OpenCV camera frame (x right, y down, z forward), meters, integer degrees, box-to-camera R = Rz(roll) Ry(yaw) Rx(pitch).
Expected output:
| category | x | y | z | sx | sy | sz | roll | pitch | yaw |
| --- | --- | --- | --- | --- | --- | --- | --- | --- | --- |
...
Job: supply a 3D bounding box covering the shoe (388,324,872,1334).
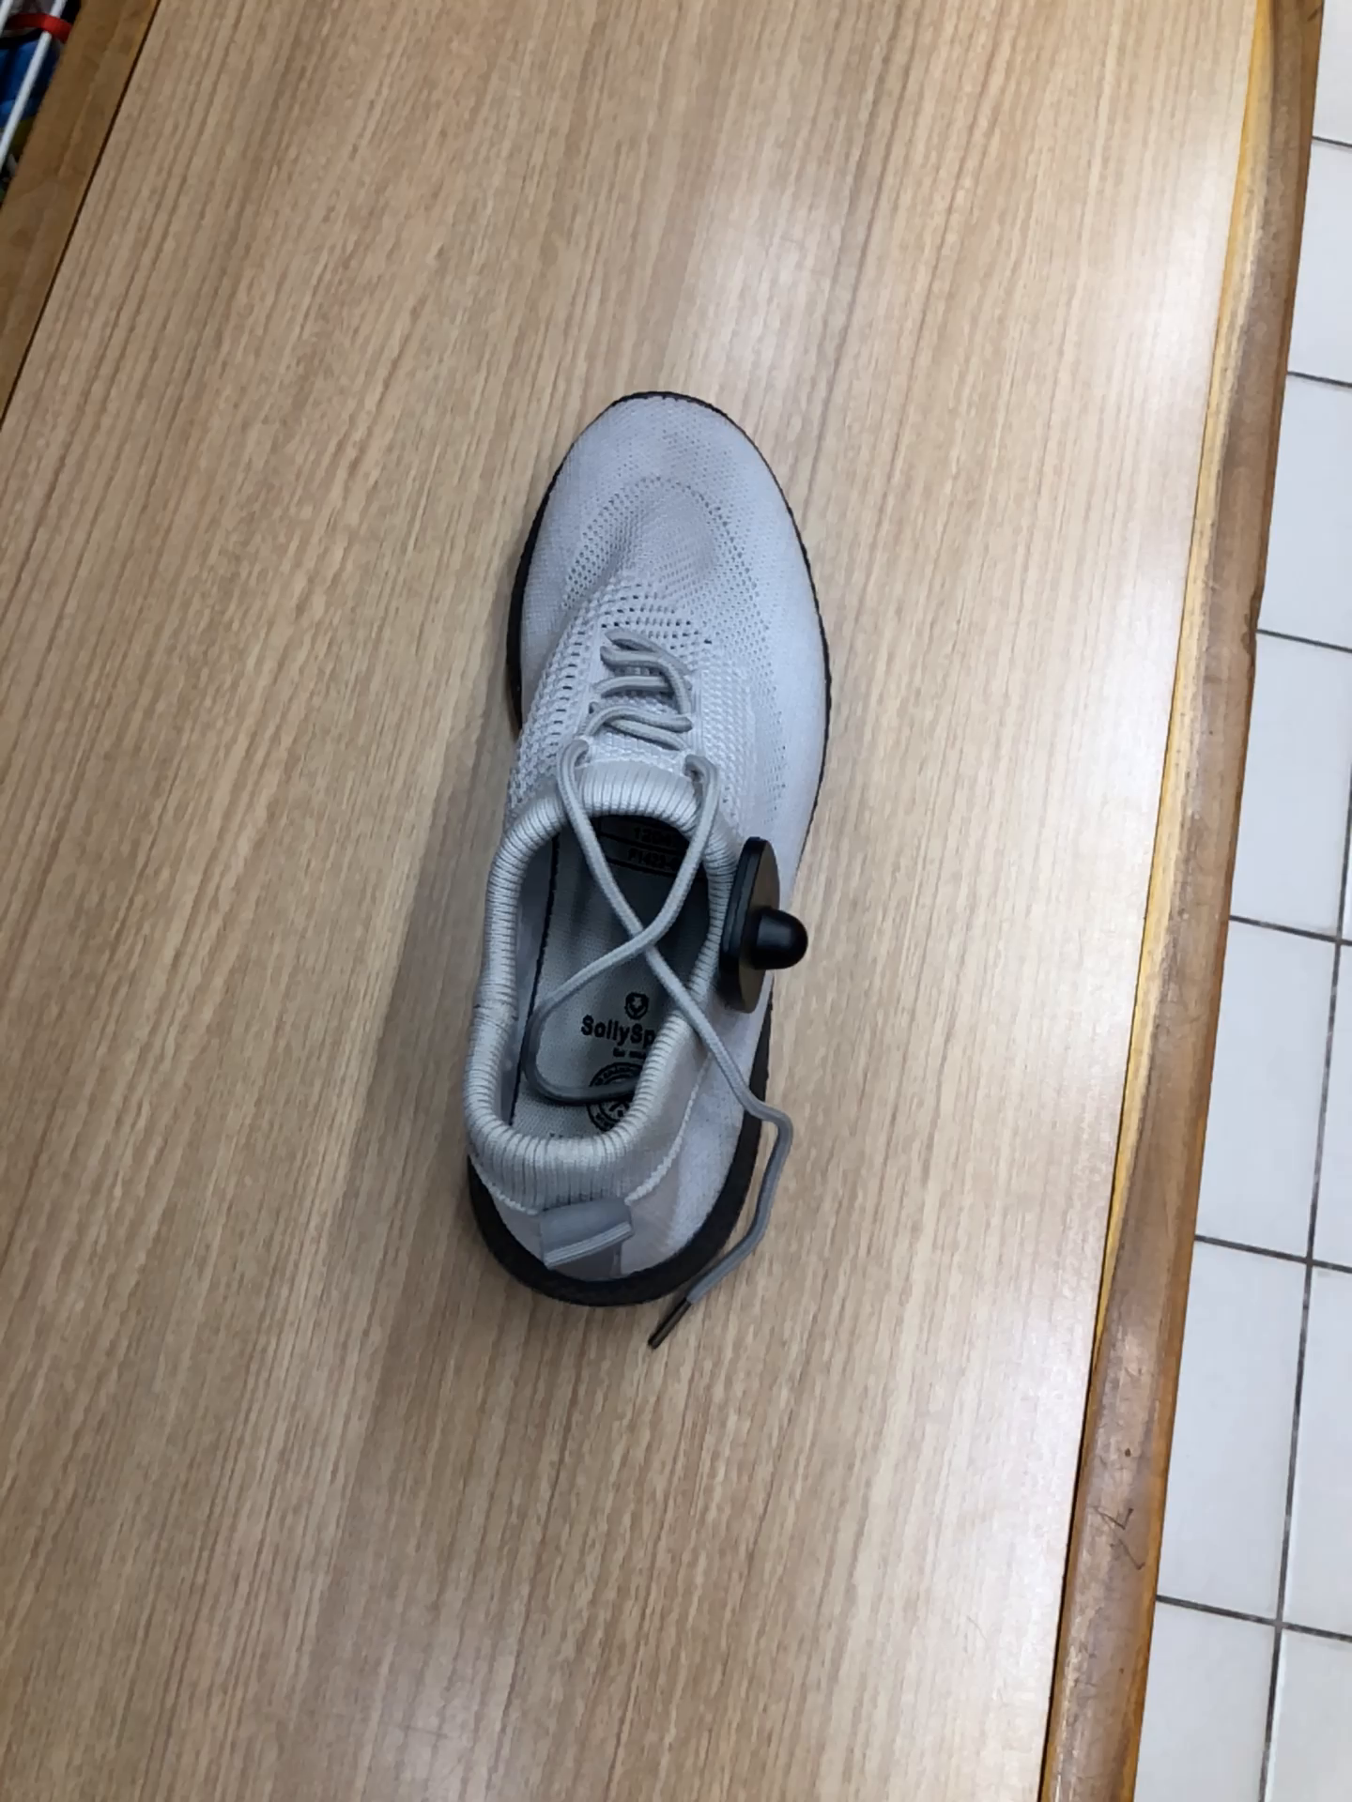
| category | x | y | z | sx | sy | sz | roll | pitch | yaw |
| --- | --- | --- | --- | --- | --- | --- | --- | --- | --- |
| shoe | -0.009 | -0.018 | 0.442 | 0.100 | 0.100 | 0.270 | 6 | 74 | -2 |
